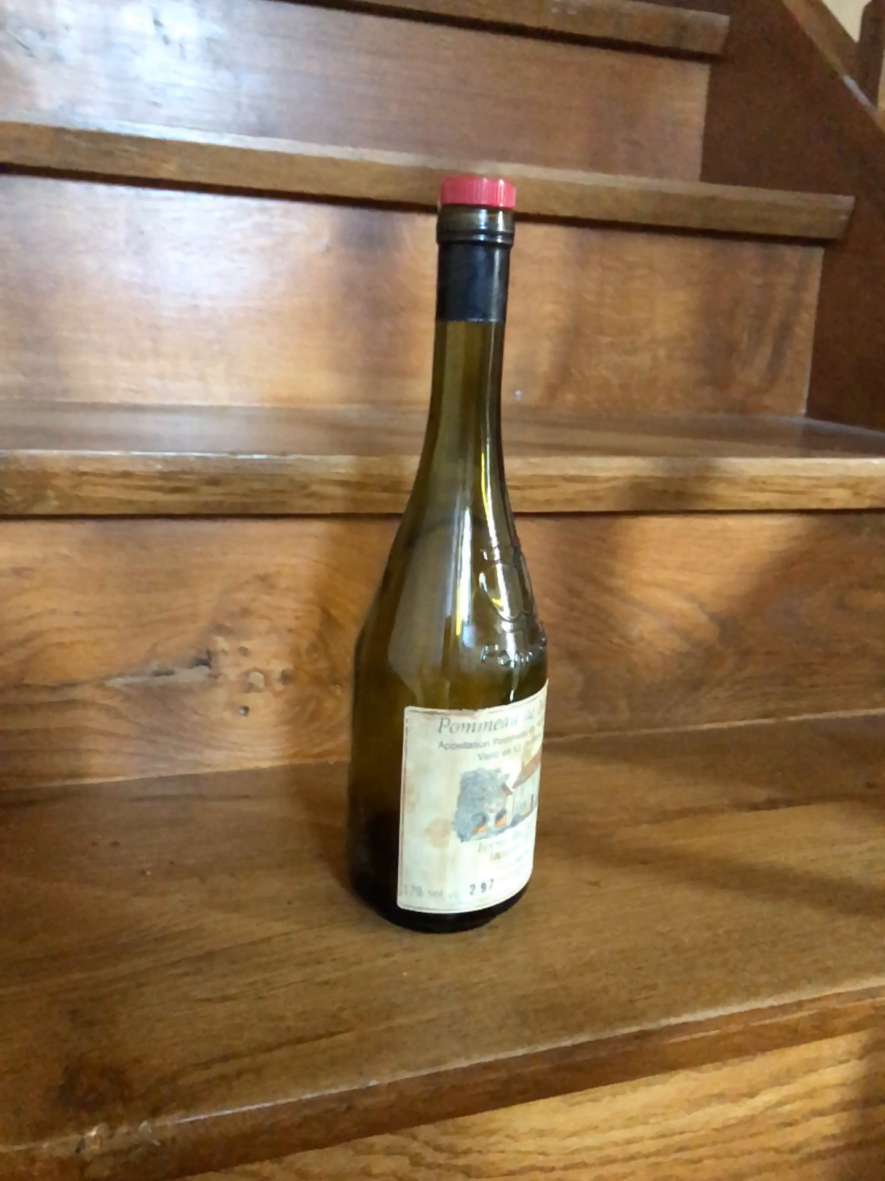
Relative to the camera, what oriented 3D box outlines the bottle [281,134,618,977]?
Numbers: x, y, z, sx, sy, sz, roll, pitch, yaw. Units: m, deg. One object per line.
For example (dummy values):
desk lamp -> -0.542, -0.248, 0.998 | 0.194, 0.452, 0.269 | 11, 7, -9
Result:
bottle -> -0.003, -0.013, 0.412 | 0.090, 0.309, 0.091 | 3, 14, -1
